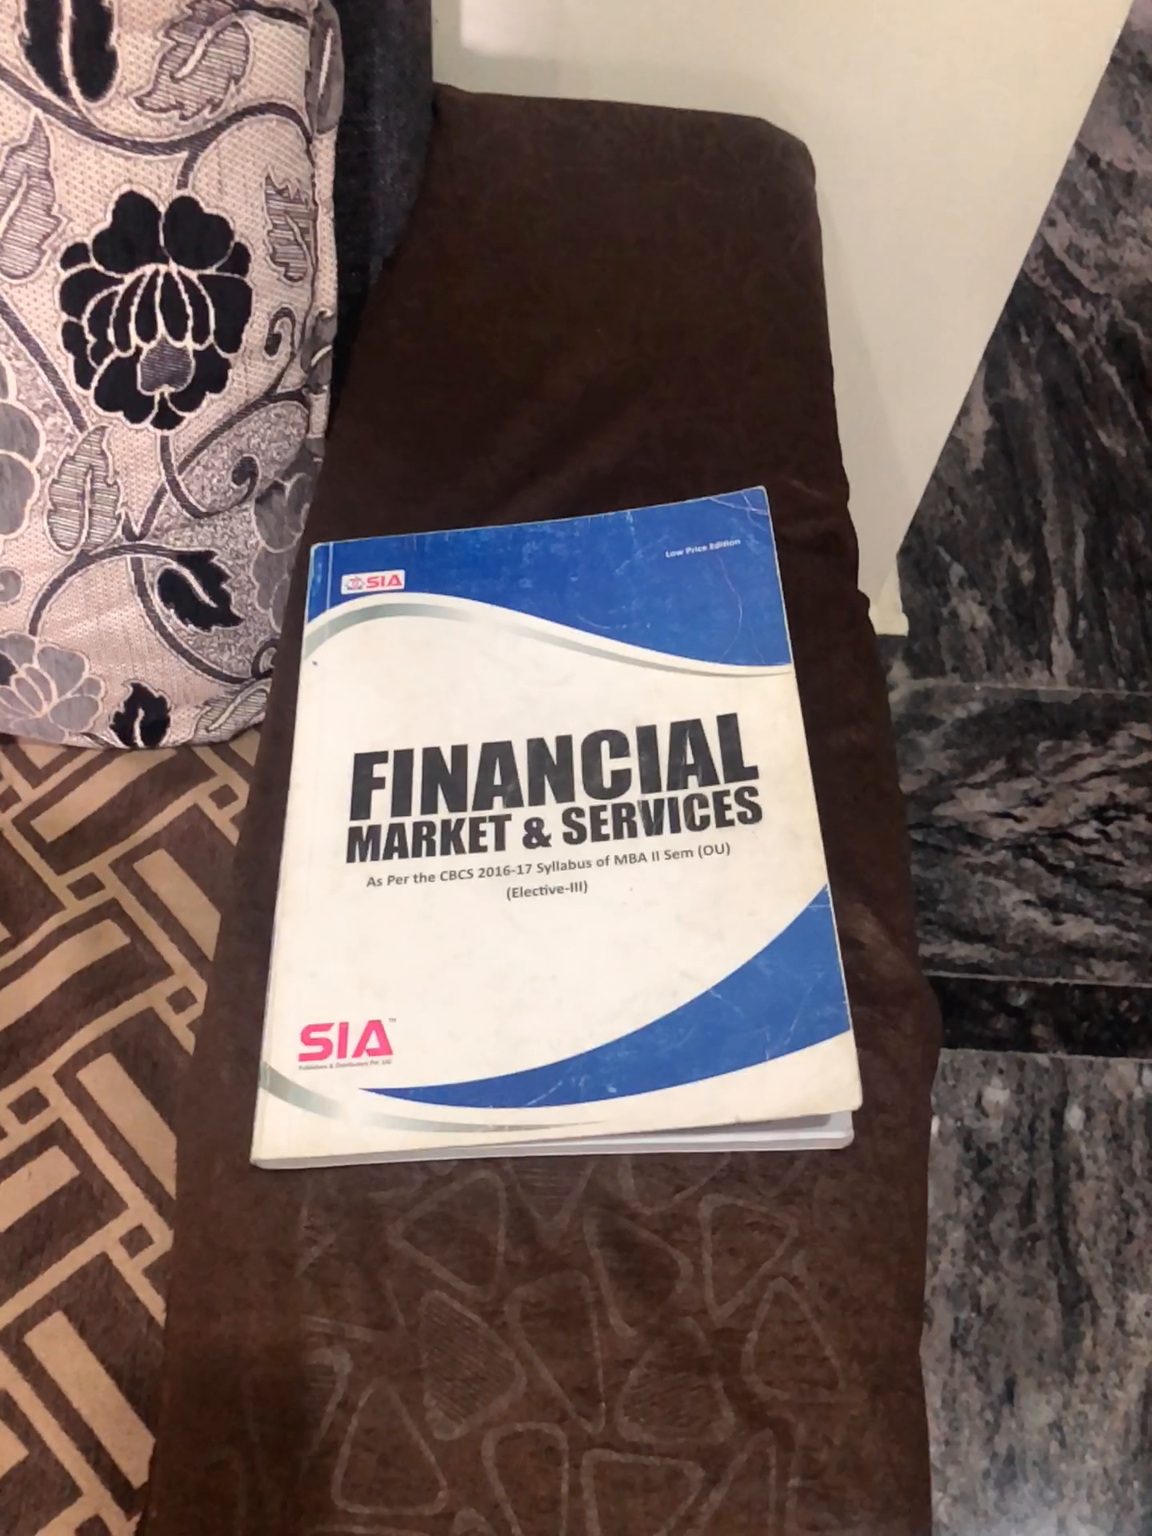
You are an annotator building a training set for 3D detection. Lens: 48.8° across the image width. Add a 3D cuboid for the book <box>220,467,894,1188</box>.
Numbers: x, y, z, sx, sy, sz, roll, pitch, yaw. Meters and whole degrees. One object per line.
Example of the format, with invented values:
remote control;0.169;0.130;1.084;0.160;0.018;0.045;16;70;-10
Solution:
book;-0.011;0.008;0.507;0.220;0.040;0.291;-4;57;3
